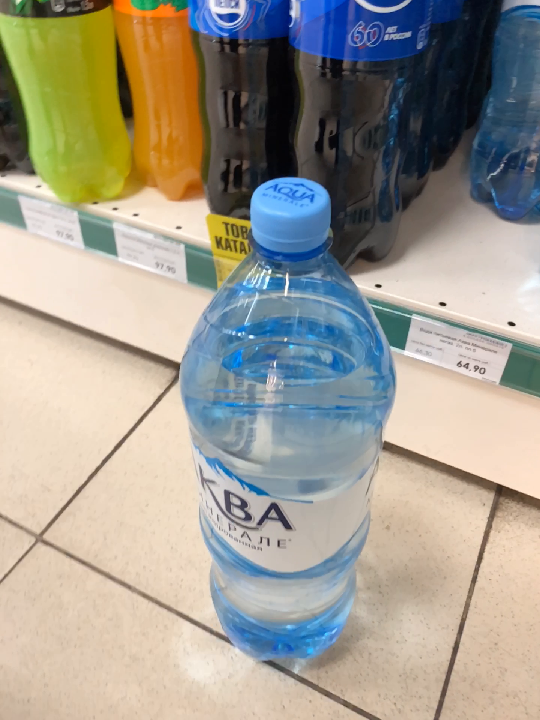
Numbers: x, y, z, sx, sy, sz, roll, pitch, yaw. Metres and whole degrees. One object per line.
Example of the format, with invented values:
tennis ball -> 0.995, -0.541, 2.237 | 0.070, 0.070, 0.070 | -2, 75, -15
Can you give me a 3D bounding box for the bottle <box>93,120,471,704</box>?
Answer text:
bottle -> 0.005, 0.057, 0.326 | 0.105, 0.323, 0.088 | 27, 49, 26
